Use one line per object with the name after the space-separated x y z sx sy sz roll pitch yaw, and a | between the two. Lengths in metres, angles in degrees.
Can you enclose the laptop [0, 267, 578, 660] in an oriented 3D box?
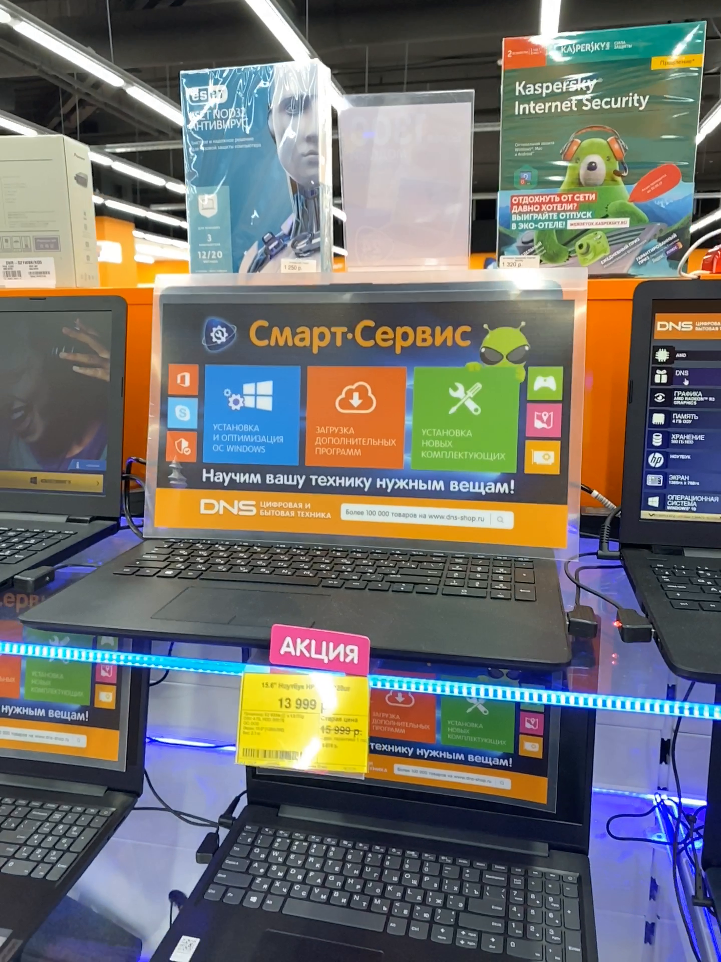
-0.033 -0.038 0.601 0.377 0.235 0.262 2 12 13 | laptop
